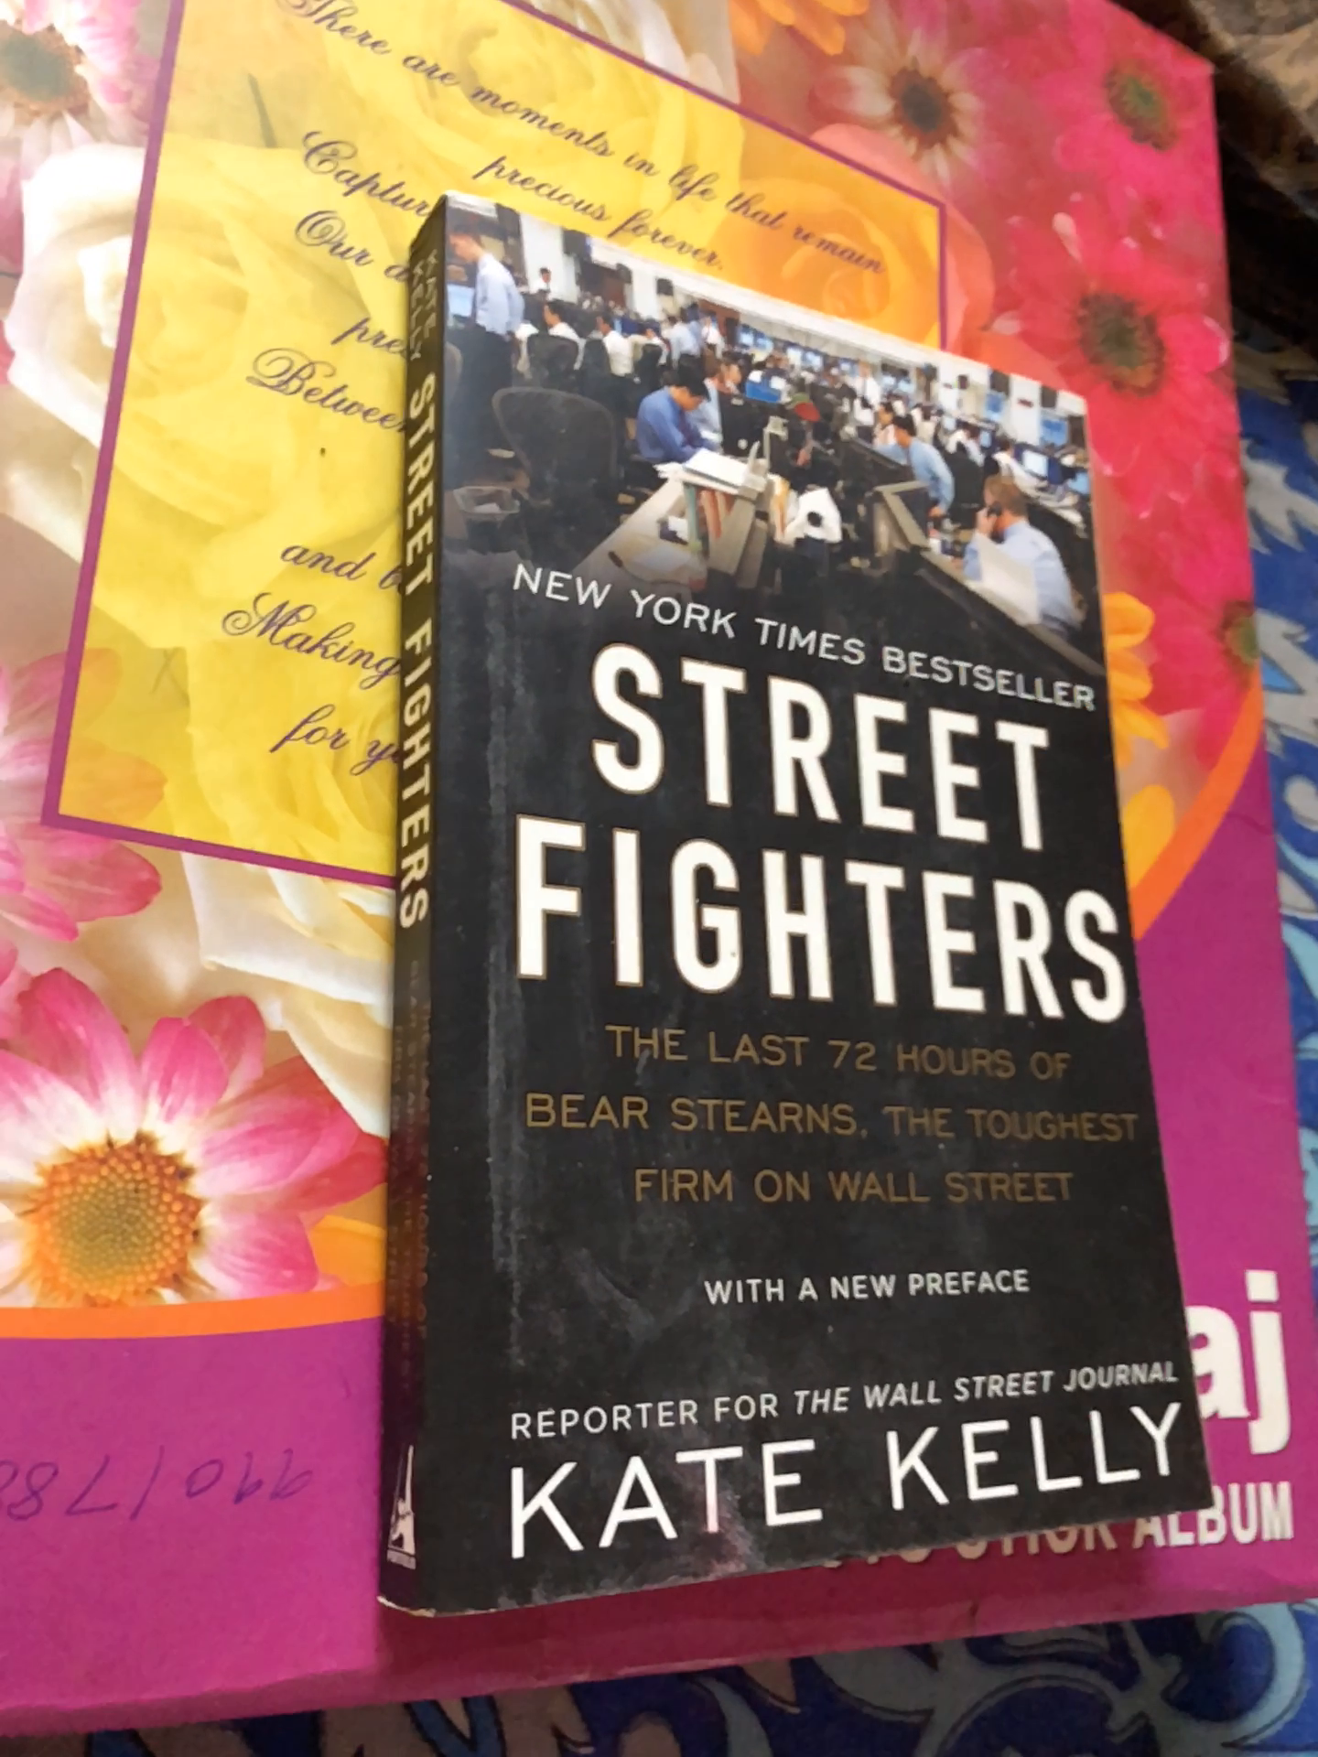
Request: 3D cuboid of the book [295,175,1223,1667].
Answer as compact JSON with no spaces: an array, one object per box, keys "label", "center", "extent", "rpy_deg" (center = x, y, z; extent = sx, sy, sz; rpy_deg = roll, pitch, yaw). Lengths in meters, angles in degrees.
[{"label":"book","center":[0.018,0.003,0.245],"extent":[0.140,0.030,0.210],"rpy_deg":[6,75,-24]}]
